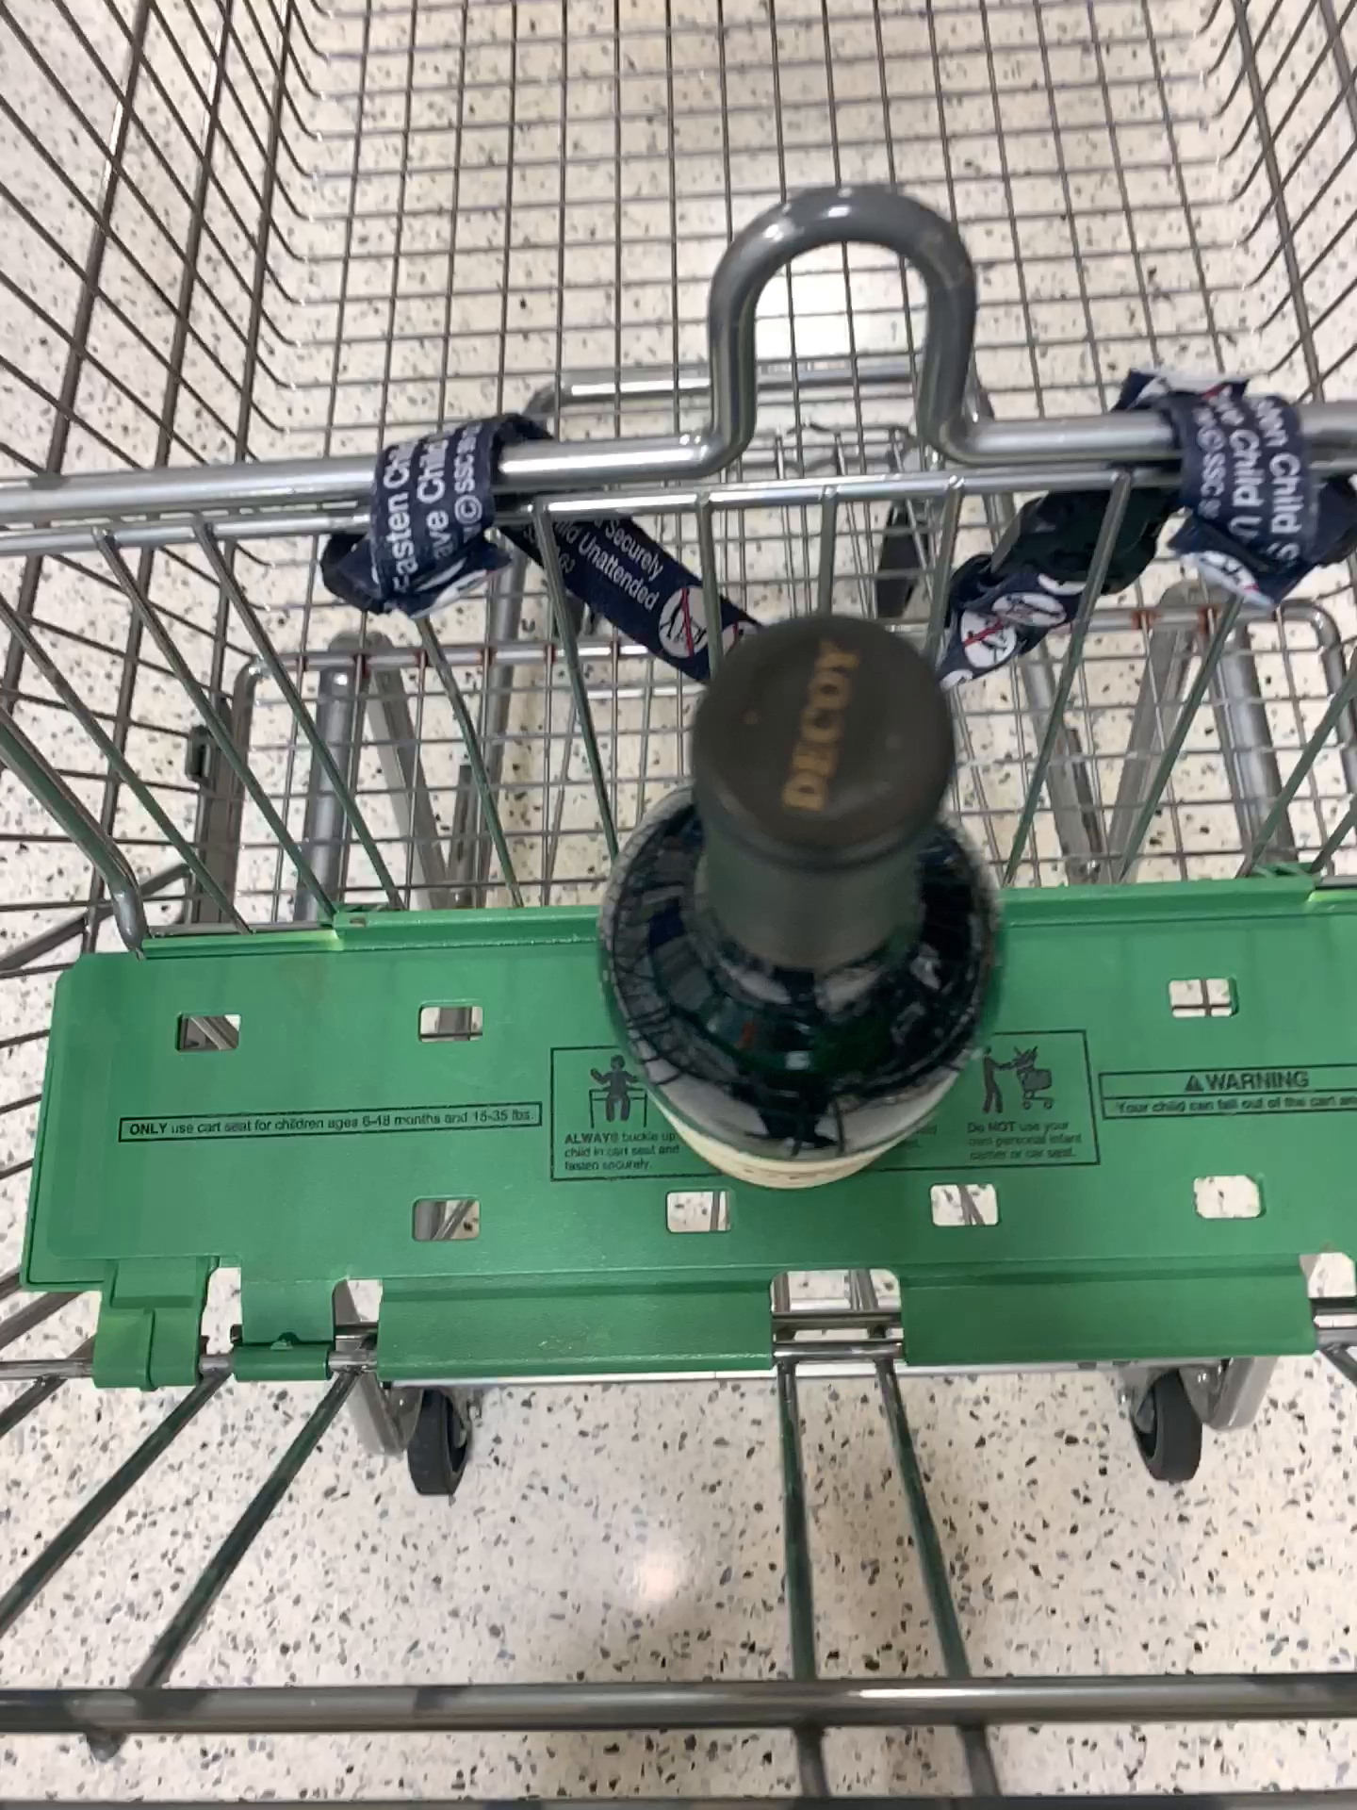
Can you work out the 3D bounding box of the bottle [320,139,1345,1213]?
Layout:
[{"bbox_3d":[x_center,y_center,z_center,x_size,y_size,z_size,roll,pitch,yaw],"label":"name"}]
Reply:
[{"bbox_3d":[0.022,0.002,0.294,0.090,0.299,0.090,-1,75,4],"label":"bottle"}]
